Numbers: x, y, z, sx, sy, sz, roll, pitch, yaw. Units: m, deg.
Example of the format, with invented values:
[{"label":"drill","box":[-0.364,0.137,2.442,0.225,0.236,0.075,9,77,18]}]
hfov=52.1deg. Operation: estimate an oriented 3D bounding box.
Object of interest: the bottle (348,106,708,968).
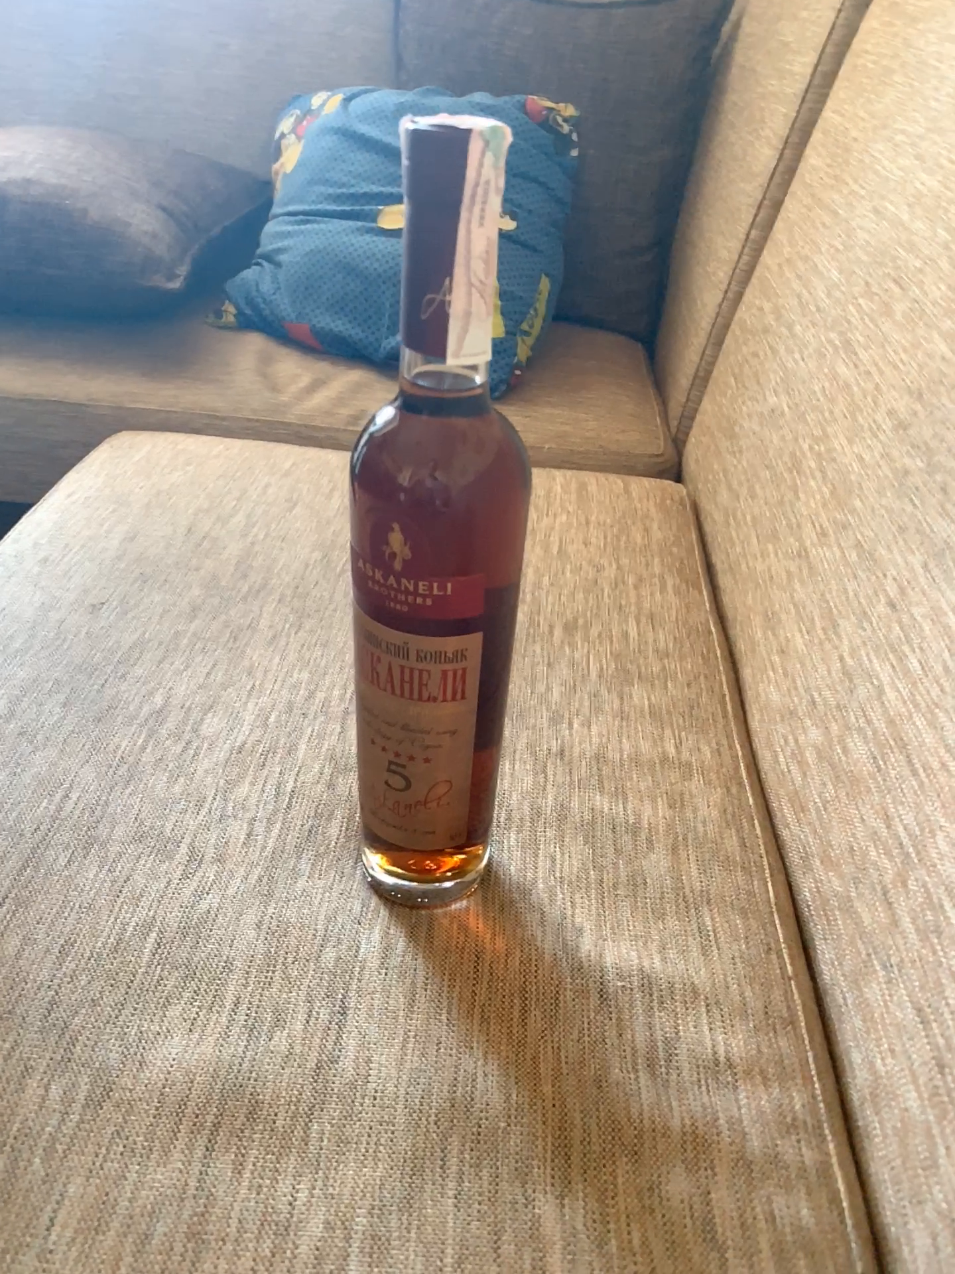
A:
[{"label":"bottle","box":[0.006,-0.017,0.334,0.070,0.279,0.070,4,34,-3]}]
